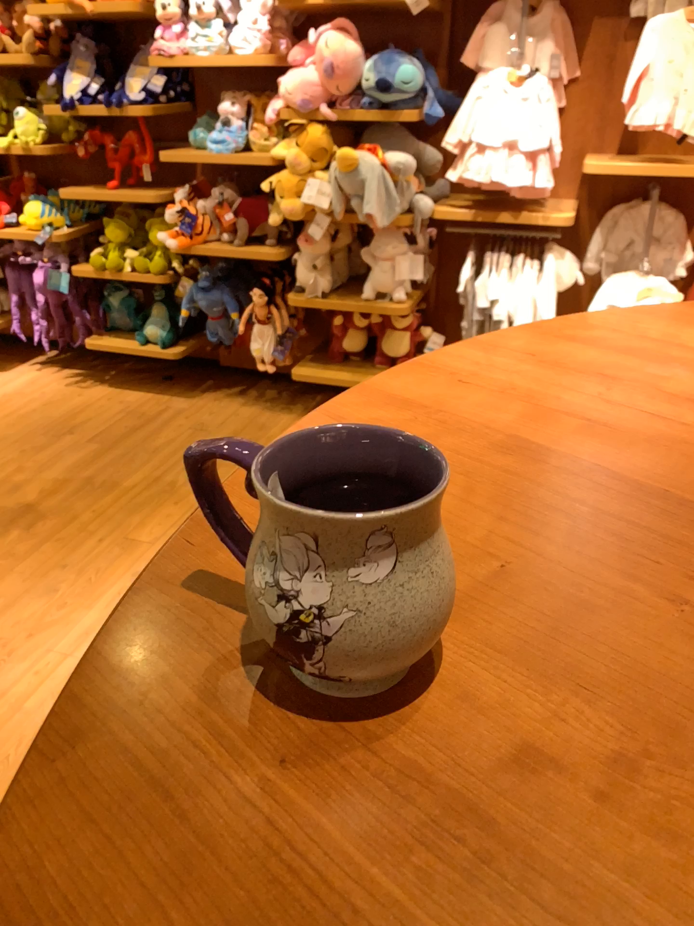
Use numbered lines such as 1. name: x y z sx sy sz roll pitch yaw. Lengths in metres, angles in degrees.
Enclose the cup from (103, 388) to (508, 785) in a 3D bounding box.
1. cup: -0.018 0.043 0.341 0.141 0.099 0.115 19 33 32
